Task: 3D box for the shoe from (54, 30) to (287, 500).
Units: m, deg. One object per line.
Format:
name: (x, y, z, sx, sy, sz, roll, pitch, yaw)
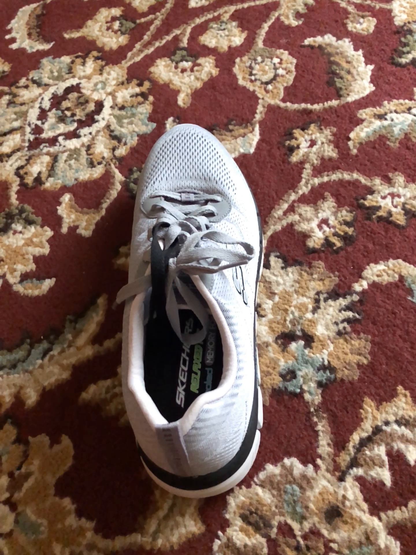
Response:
shoe: (-0.010, -0.014, 0.324, 0.100, 0.130, 0.300, -3, 61, 5)
